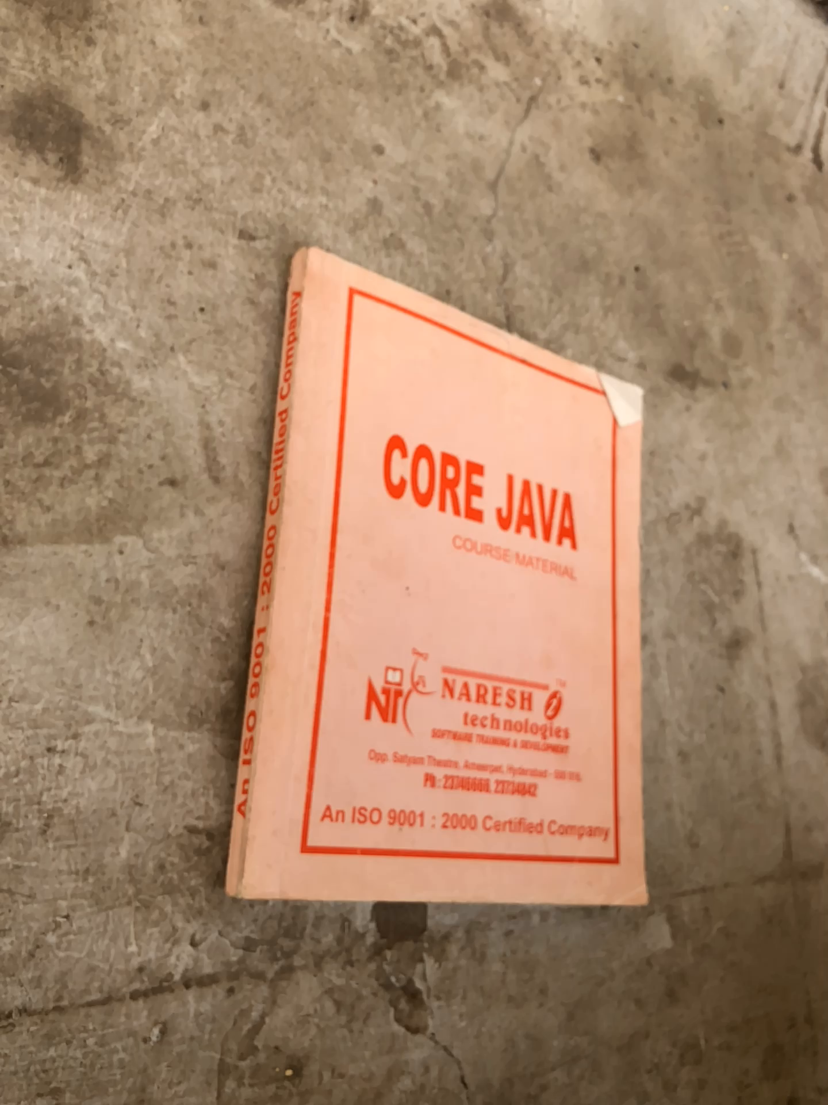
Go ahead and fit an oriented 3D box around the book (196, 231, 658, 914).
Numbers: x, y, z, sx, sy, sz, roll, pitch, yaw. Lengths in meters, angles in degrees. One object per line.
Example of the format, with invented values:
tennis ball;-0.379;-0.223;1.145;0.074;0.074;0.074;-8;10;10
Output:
book;0.020;0.016;0.405;0.201;0.030;0.260;13;70;-32
